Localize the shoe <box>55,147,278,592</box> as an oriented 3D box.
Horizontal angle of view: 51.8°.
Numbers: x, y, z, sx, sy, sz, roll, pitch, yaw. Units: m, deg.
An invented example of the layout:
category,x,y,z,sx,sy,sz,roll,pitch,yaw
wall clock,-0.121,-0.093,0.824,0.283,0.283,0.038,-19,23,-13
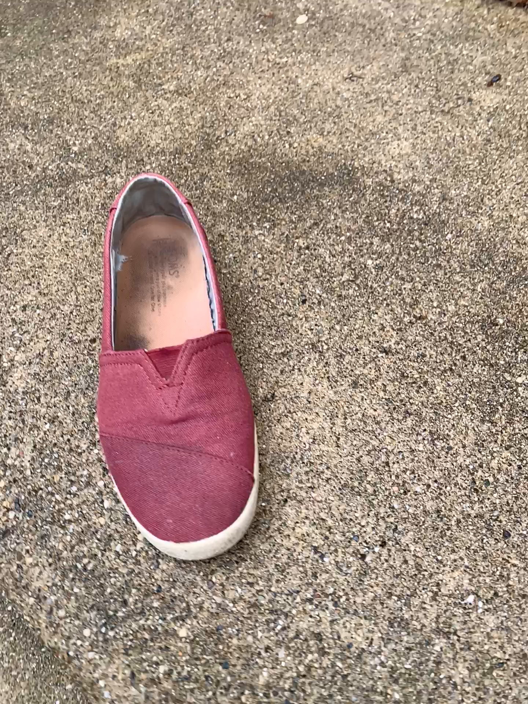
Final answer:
category,x,y,z,sx,sy,sz,roll,pitch,yaw
shoe,-0.061,-0.002,0.350,0.098,0.089,0.266,-8,59,-2
